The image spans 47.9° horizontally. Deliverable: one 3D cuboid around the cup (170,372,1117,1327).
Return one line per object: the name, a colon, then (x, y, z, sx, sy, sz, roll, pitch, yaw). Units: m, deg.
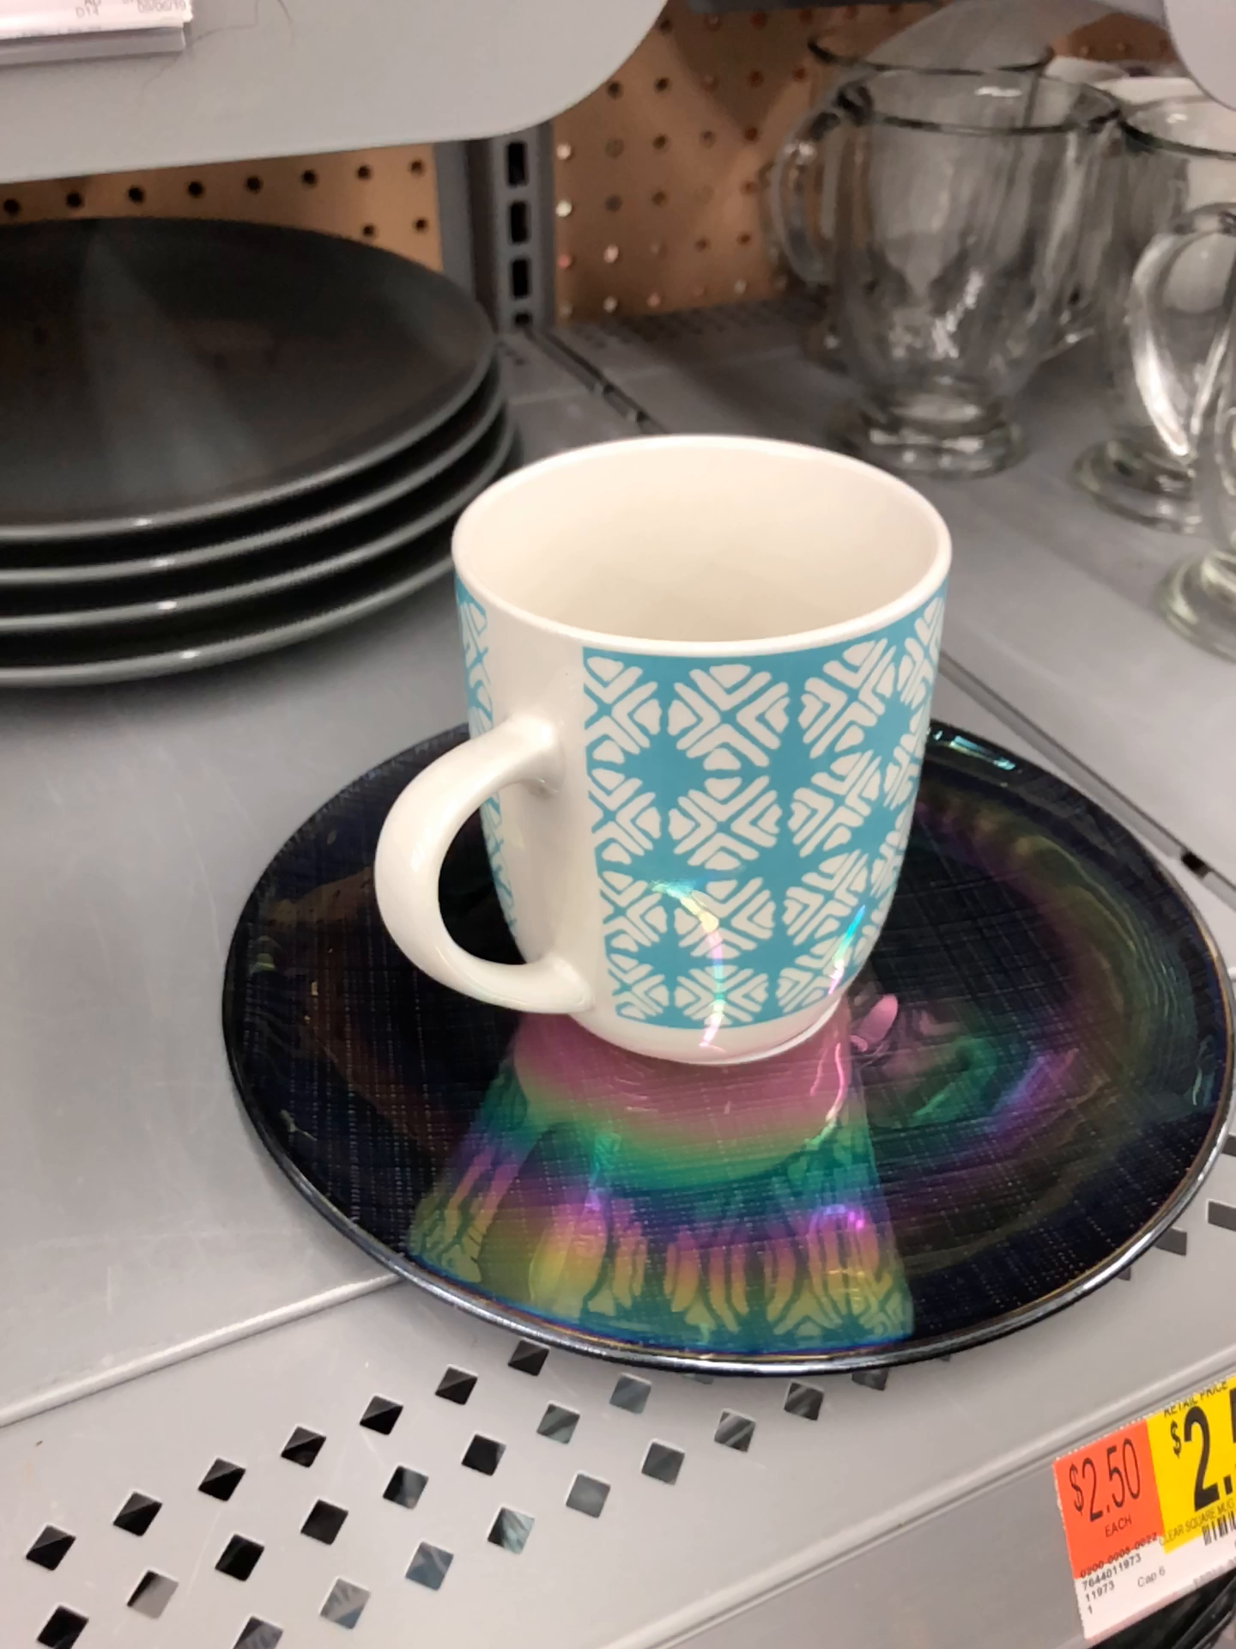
cup: (0.008, -0.006, 0.247, 0.089, 0.098, 0.122, 30, 46, 33)
